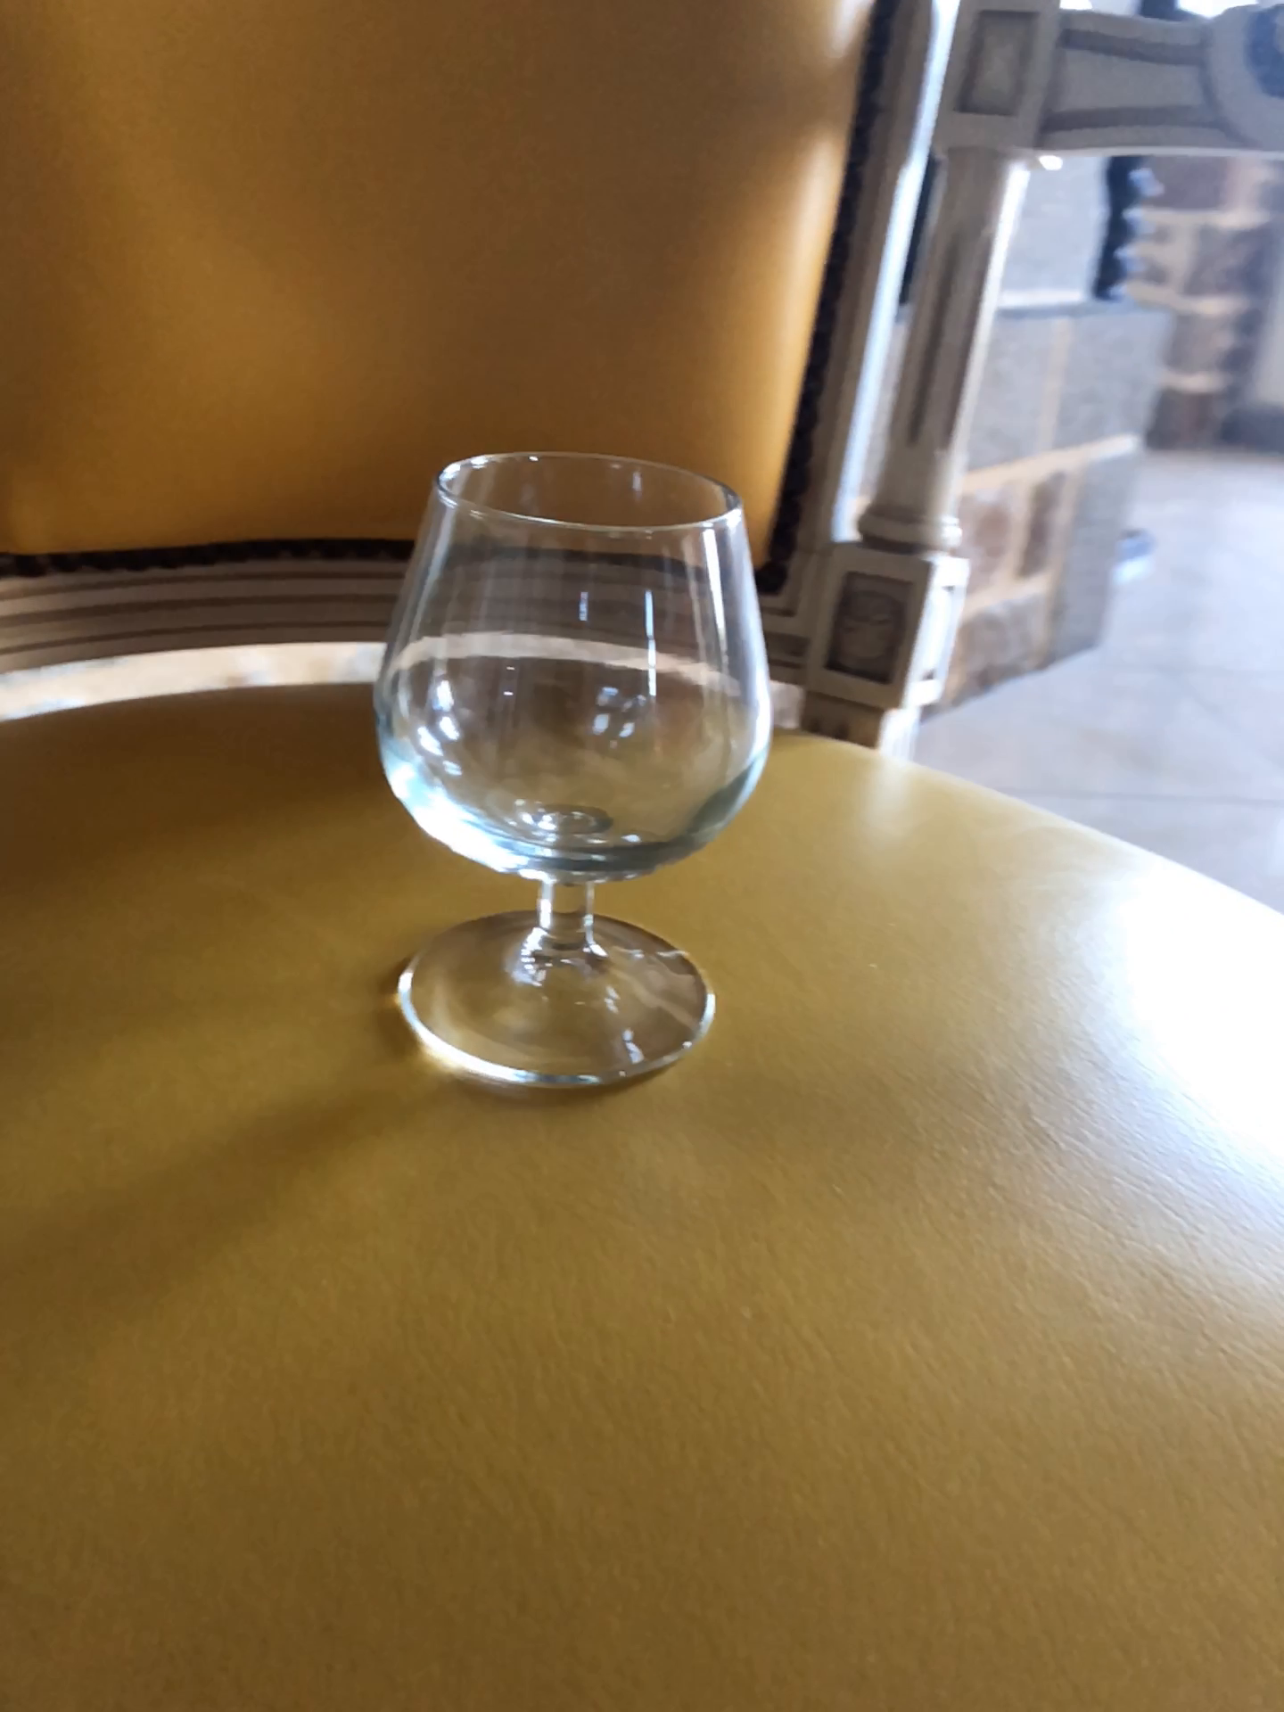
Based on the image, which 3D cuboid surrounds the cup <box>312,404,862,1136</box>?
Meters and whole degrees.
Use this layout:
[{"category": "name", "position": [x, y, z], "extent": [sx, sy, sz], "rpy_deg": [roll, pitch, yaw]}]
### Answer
[{"category": "cup", "position": [-0.006, -0.019, 0.234], "extent": [0.070, 0.090, 0.080], "rpy_deg": [6, 26, 4]}]
